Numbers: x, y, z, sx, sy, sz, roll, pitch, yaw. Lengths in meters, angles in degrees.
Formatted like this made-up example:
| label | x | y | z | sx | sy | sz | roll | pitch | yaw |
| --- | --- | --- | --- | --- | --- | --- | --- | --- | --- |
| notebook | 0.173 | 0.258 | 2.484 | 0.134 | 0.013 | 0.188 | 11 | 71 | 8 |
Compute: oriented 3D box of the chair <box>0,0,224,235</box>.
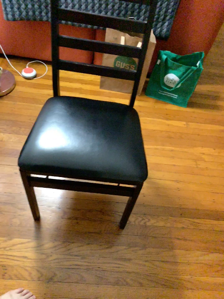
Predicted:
| label | x | y | z | sx | sy | sz | roll | pitch | yaw |
| --- | --- | --- | --- | --- | --- | --- | --- | --- | --- |
| chair | -0.068 | -0.118 | 0.802 | 0.490 | 0.866 | 0.553 | 5 | 54 | -5 |
